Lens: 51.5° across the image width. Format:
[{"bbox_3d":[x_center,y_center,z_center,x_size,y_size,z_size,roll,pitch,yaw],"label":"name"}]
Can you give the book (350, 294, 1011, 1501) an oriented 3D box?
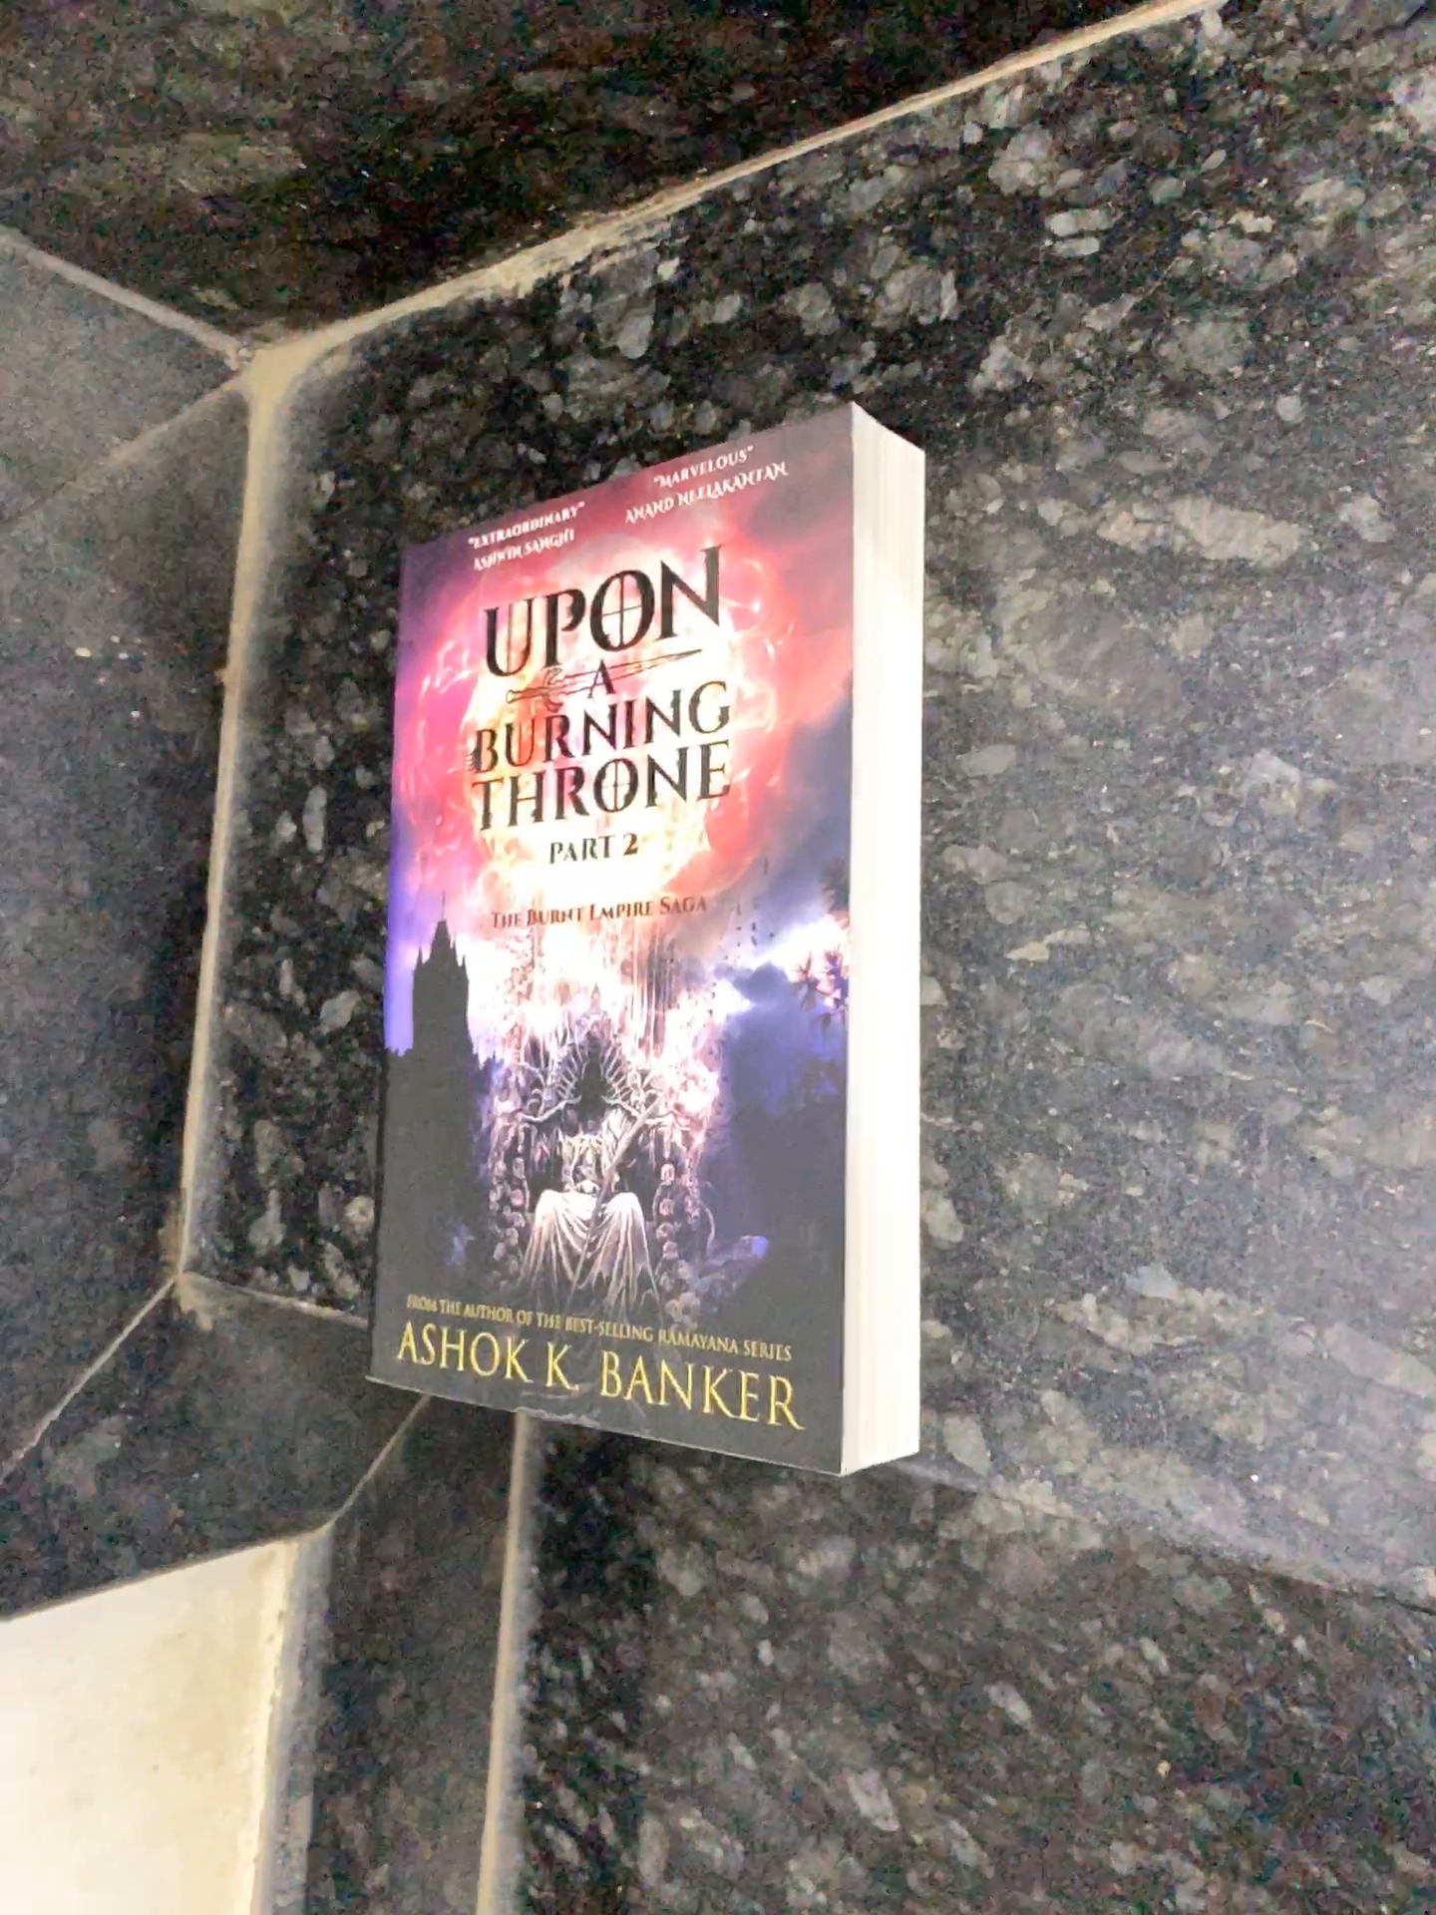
[{"bbox_3d":[-0.012,-0.010,0.299,0.141,0.030,0.200,-3,82,38],"label":"book"}]
